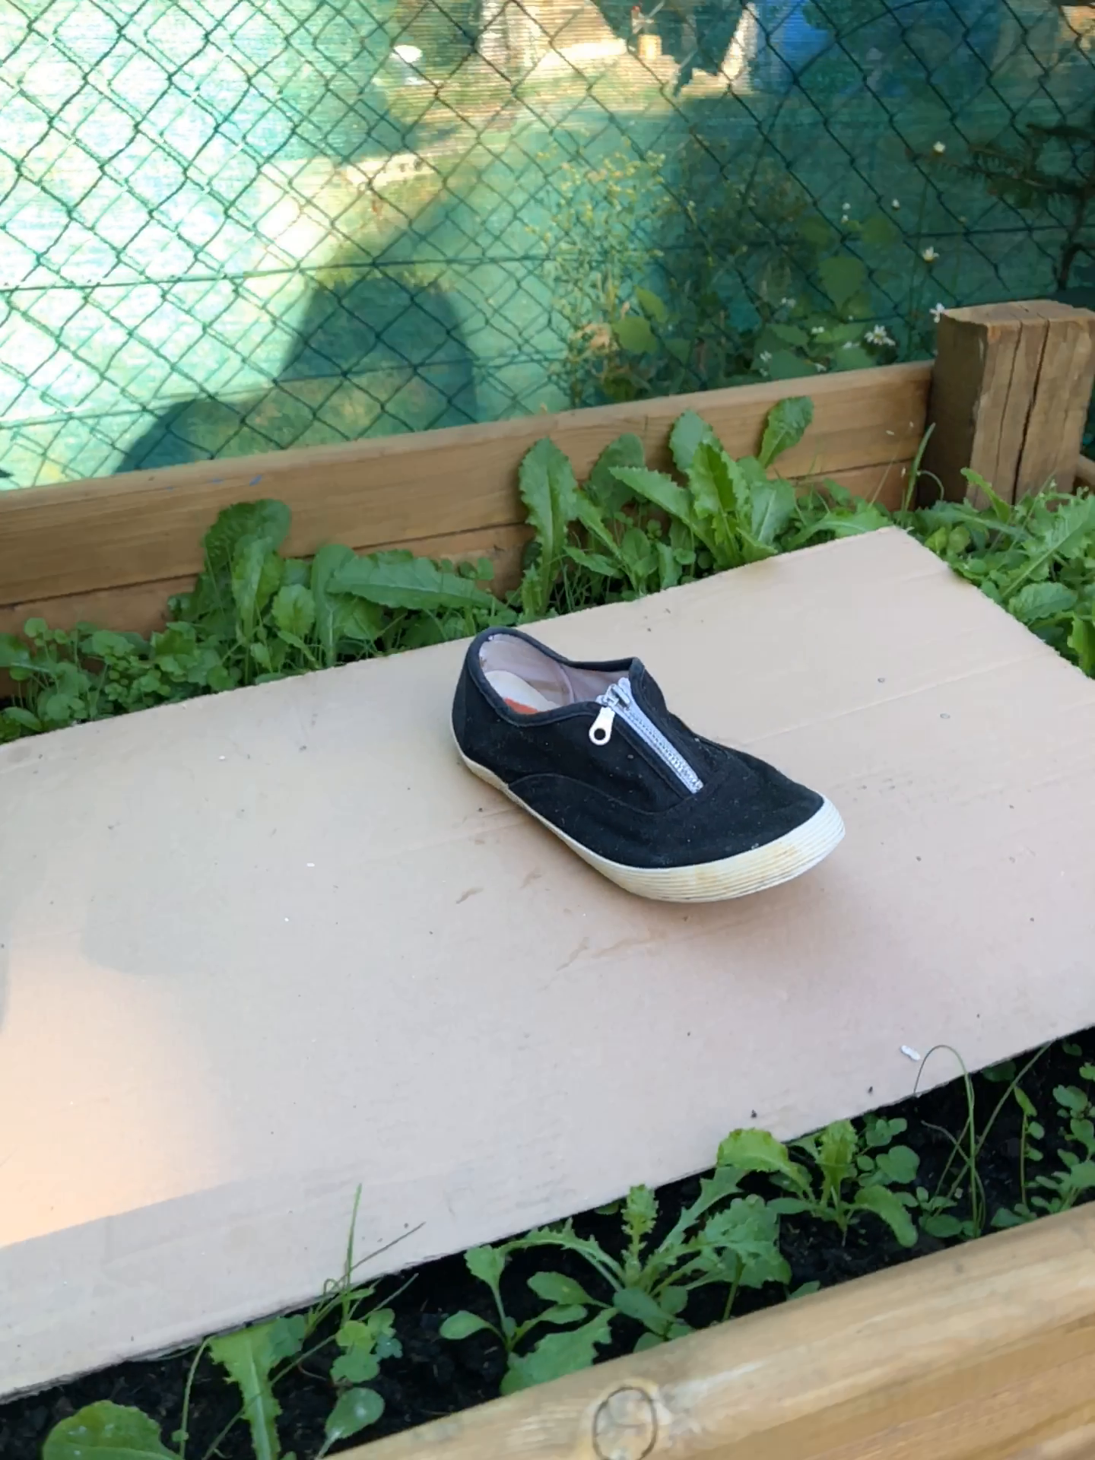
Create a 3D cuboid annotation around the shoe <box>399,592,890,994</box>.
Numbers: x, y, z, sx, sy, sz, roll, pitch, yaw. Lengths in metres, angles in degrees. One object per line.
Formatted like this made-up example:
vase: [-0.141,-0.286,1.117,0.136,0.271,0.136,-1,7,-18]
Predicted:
shoe: [0.040,0.019,0.621,0.100,0.070,0.240,-30,45,-33]
